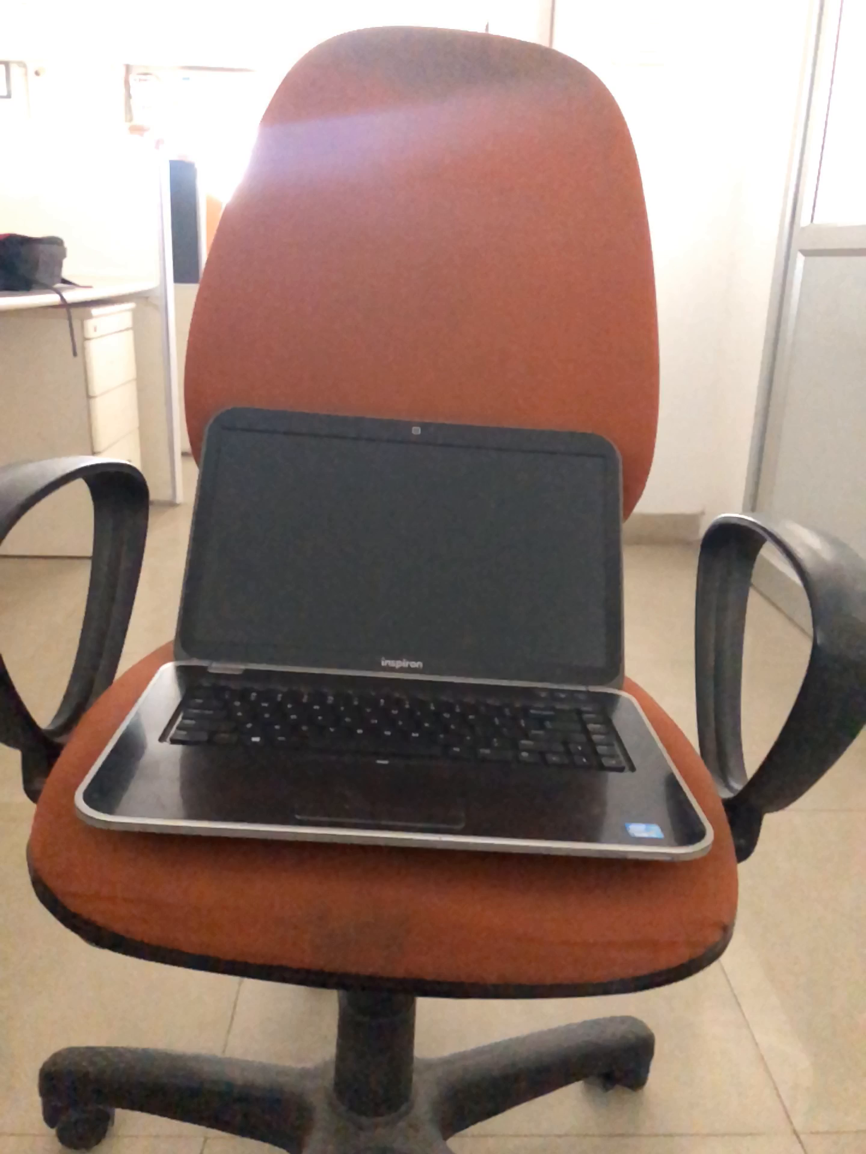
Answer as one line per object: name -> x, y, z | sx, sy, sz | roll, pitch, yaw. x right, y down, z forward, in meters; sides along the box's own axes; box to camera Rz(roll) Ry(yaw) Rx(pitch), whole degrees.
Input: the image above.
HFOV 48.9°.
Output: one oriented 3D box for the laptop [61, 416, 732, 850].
laptop -> -0.025, 0.008, 0.692 | 0.352, 0.173, 0.352 | 2, 19, 0
